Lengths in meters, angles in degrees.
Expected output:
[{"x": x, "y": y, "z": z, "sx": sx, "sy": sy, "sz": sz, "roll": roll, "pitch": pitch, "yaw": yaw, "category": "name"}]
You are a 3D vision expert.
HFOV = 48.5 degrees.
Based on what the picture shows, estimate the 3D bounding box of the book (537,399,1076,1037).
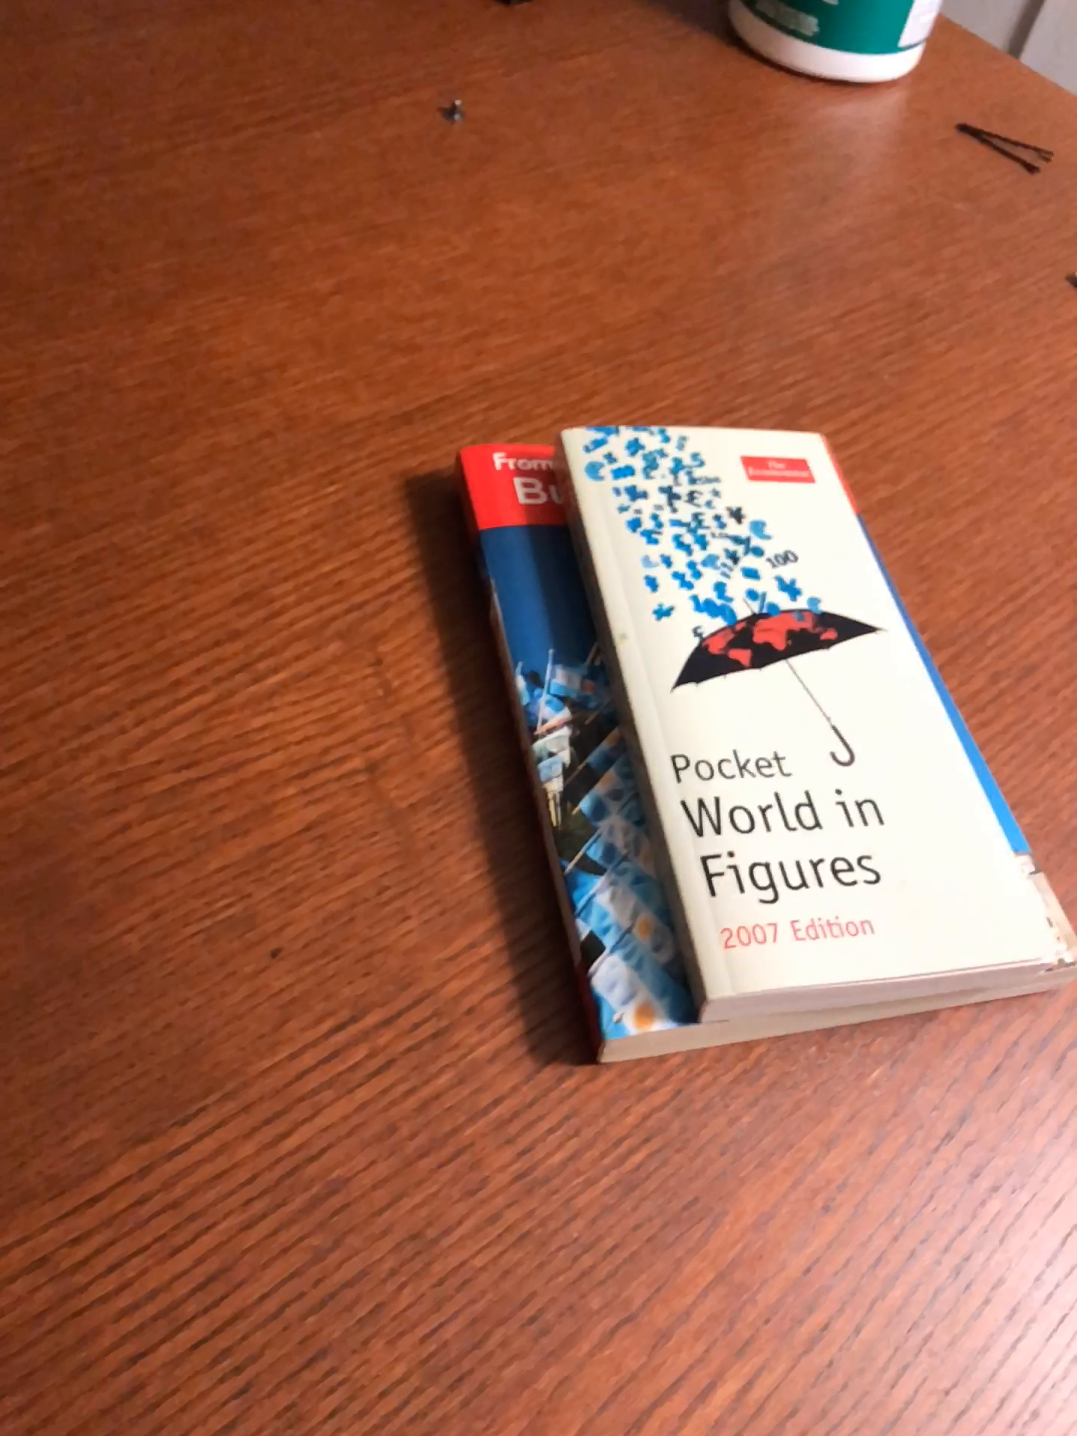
[{"x": 0.066, "y": -0.015, "z": 0.336, "sx": 0.100, "sy": 0.020, "sz": 0.201, "roll": -2, "pitch": 54, "yaw": -13, "category": "book"}]

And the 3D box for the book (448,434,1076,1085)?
[{"x": 0.060, "y": -0.006, "z": 0.359, "sx": 0.140, "sy": 0.020, "sz": 0.211, "roll": -4, "pitch": 54, "yaw": -14, "category": "book"}]
